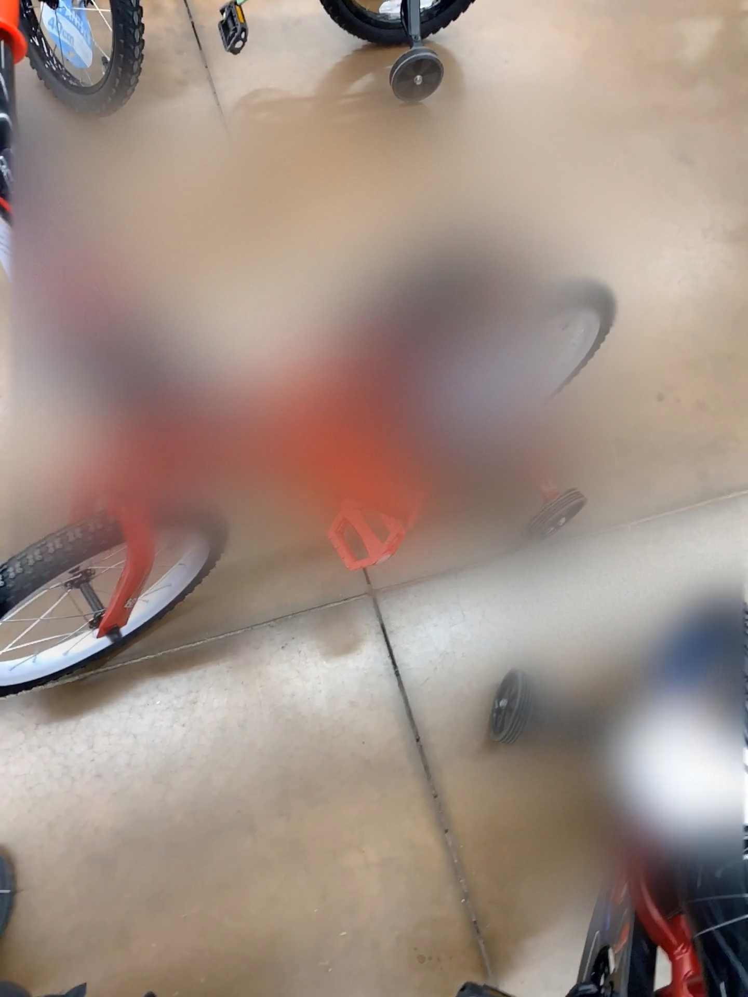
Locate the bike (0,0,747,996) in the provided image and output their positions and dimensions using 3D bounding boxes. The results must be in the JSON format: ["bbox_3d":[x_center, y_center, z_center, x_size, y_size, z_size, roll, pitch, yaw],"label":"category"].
[{"bbox_3d":[-0.010,-0.088,0.922,1.140,0.957,0.516,-30,73,-20],"label":"bike"}]
